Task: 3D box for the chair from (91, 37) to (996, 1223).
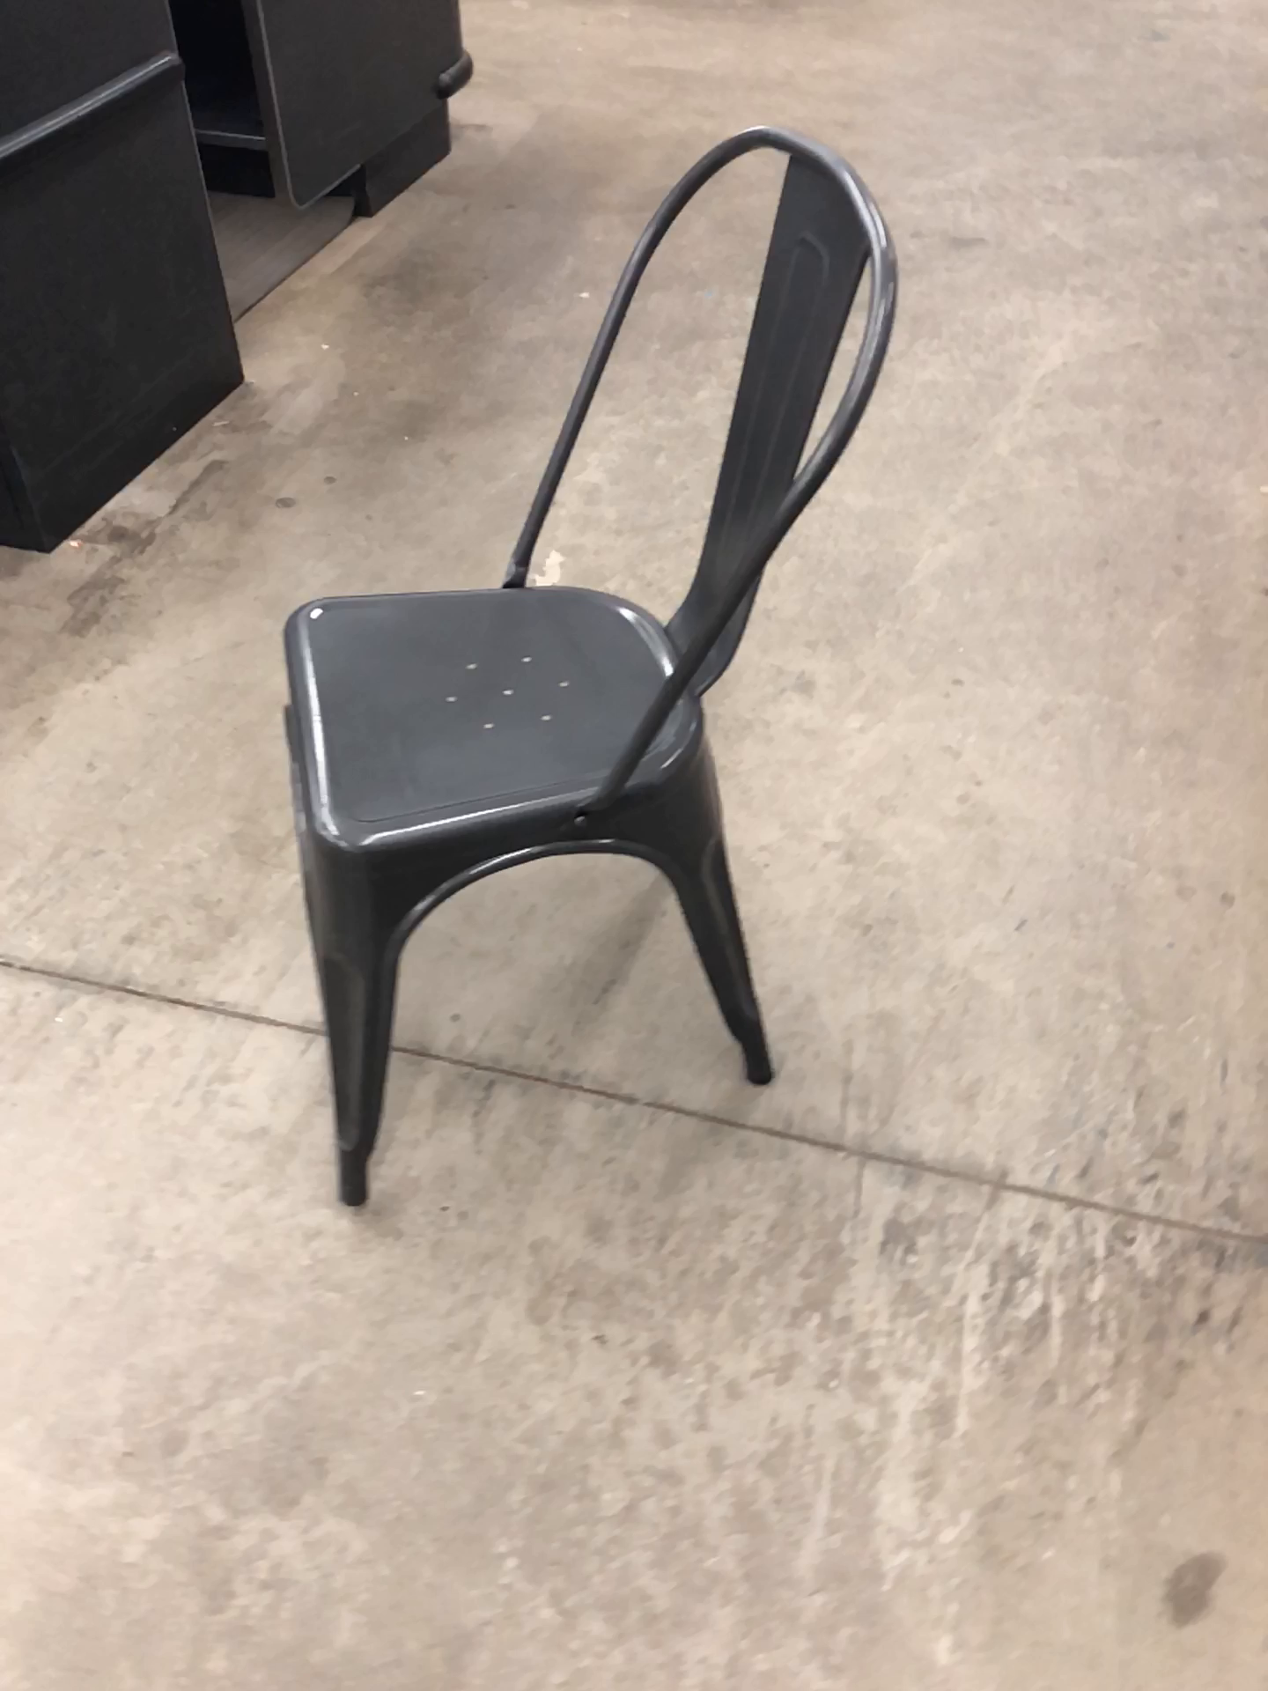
[{"bbox_3d":[-0.093,-0.154,1.205,0.500,0.817,0.482,-11,45,-10],"label":"chair"}]
